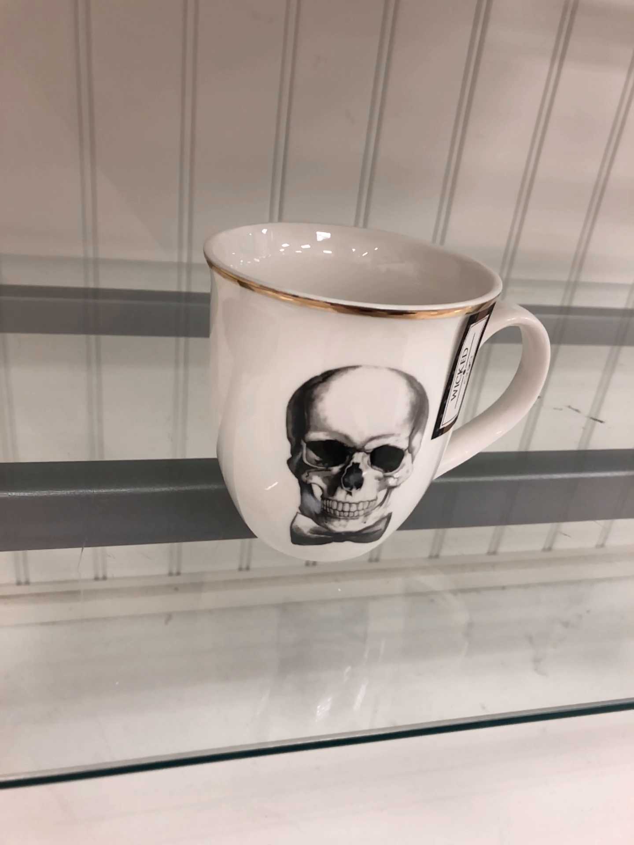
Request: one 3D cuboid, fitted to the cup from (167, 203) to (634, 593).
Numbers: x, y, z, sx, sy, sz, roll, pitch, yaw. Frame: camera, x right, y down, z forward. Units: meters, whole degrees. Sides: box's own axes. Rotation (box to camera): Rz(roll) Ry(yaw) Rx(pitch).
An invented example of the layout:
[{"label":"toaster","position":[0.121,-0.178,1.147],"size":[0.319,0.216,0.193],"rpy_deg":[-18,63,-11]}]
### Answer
[{"label":"cup","position":[0.025,-0.019,0.245],"size":[0.131,0.088,0.095],"rpy_deg":[-6,30,-24]}]
